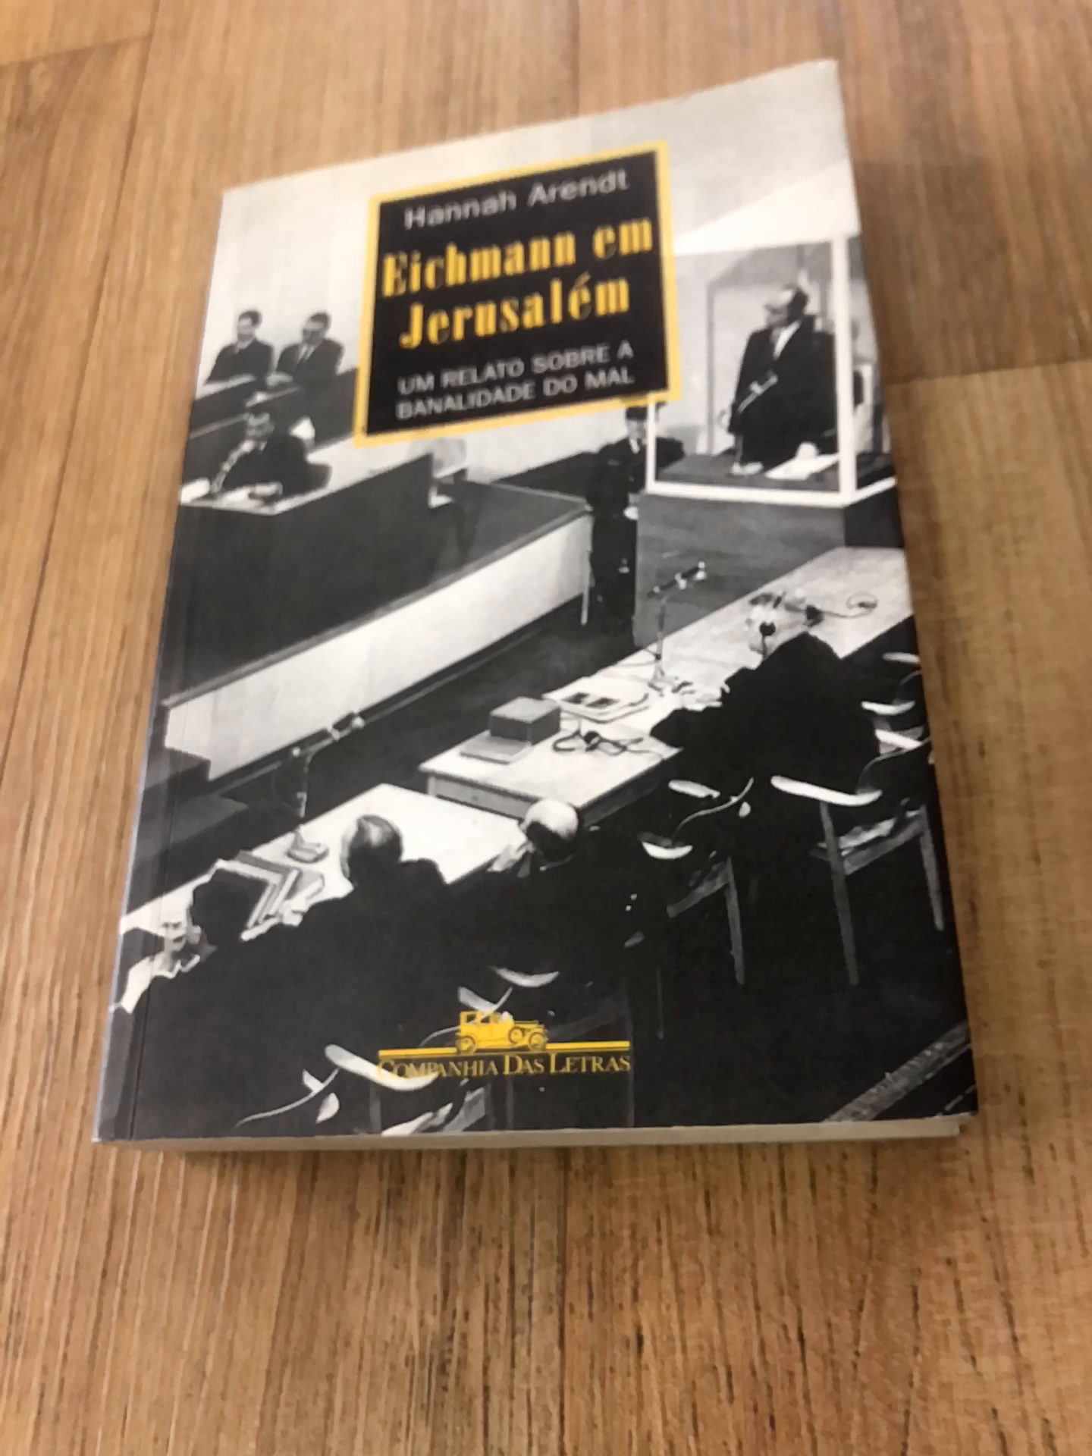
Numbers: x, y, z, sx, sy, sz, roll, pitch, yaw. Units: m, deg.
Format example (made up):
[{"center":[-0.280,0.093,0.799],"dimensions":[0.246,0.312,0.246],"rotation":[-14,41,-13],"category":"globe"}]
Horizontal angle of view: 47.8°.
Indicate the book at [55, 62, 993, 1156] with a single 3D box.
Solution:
[{"center":[-0.006,-0.028,0.232],"dimensions":[0.140,0.030,0.201],"rotation":[-5,67,11],"category":"book"}]
